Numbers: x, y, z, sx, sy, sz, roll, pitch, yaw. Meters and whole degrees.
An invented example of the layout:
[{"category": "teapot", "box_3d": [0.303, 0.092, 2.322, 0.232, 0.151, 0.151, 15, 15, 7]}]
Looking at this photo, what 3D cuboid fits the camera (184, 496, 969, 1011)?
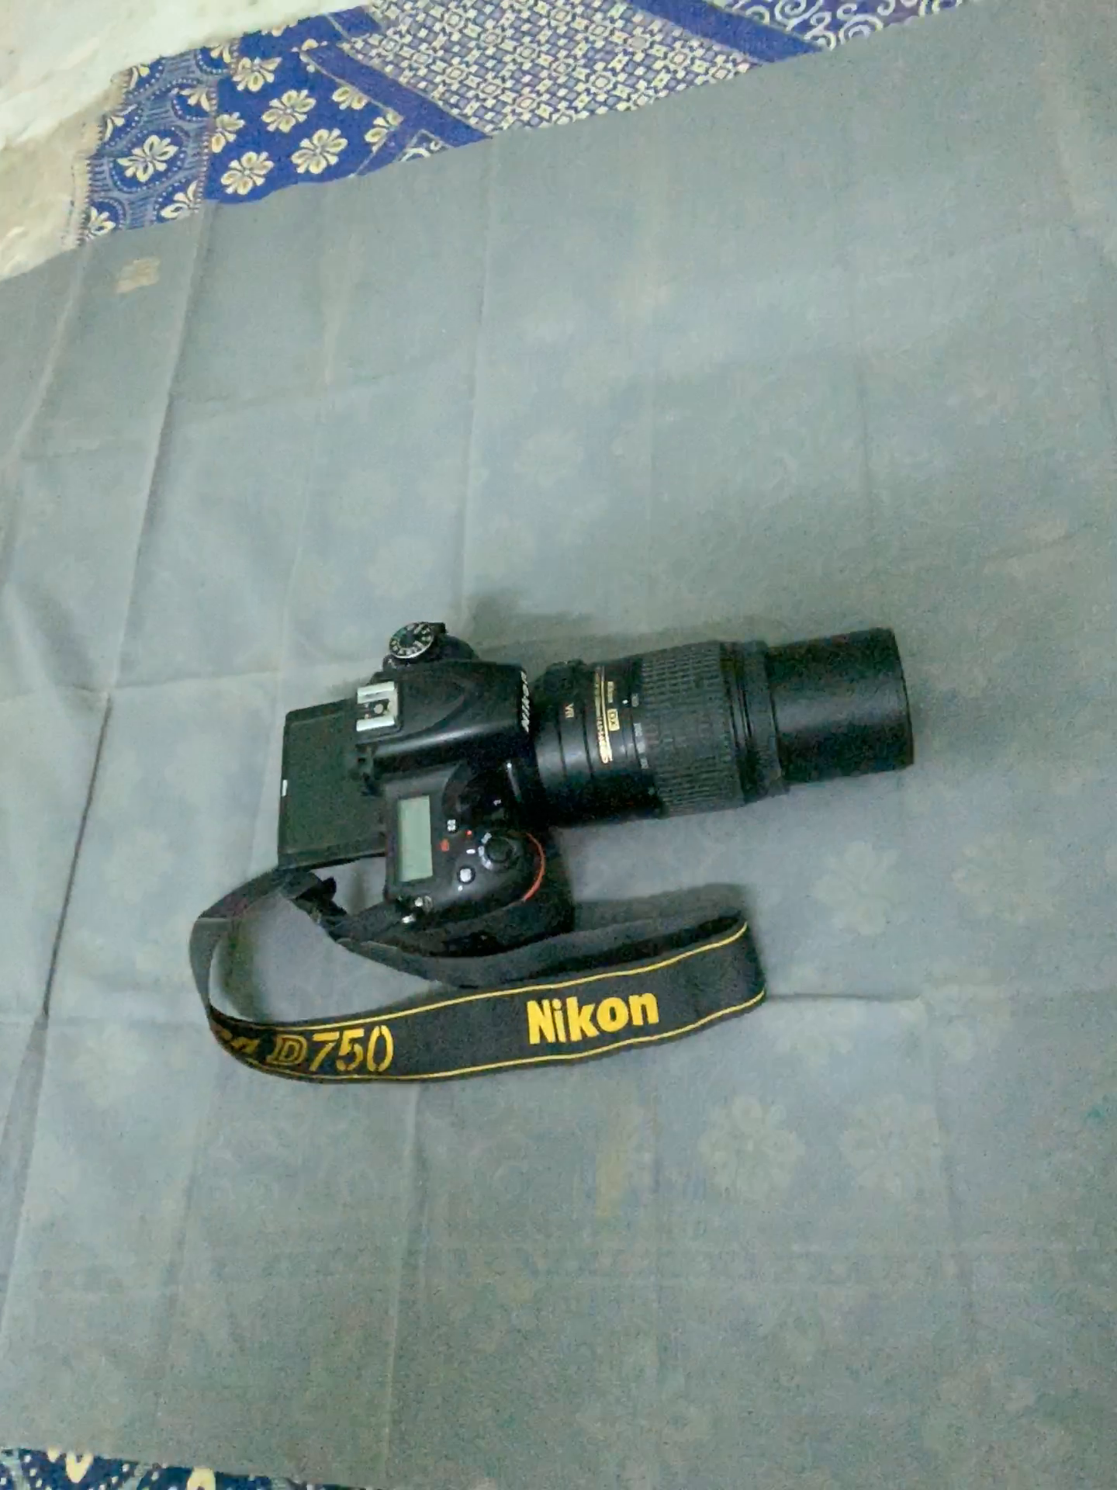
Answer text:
[{"category": "camera", "box_3d": [0.008, 0.017, 0.479, 0.288, 0.110, 0.147, -8, 65, 16]}]
